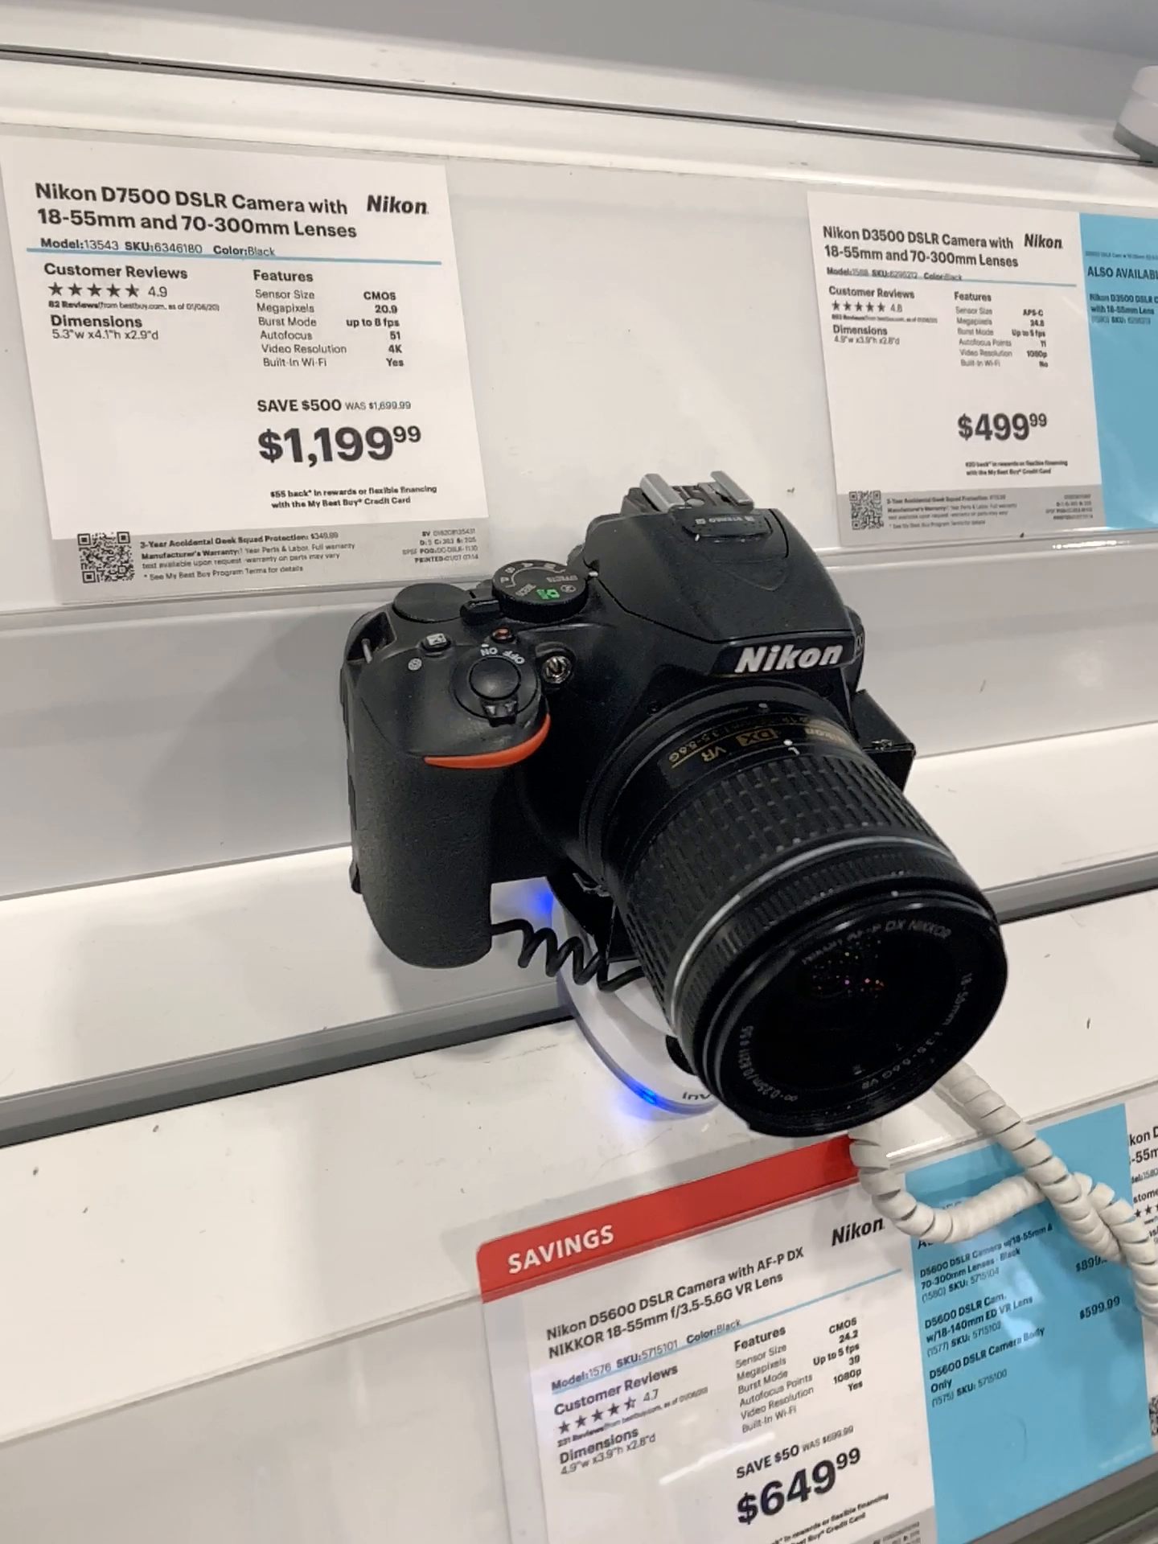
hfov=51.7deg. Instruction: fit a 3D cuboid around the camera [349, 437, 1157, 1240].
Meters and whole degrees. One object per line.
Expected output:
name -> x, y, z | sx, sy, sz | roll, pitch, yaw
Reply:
camera -> 0.031, 0.000, 0.240 | 0.130, 0.090, 0.121 | -6, 39, -20
